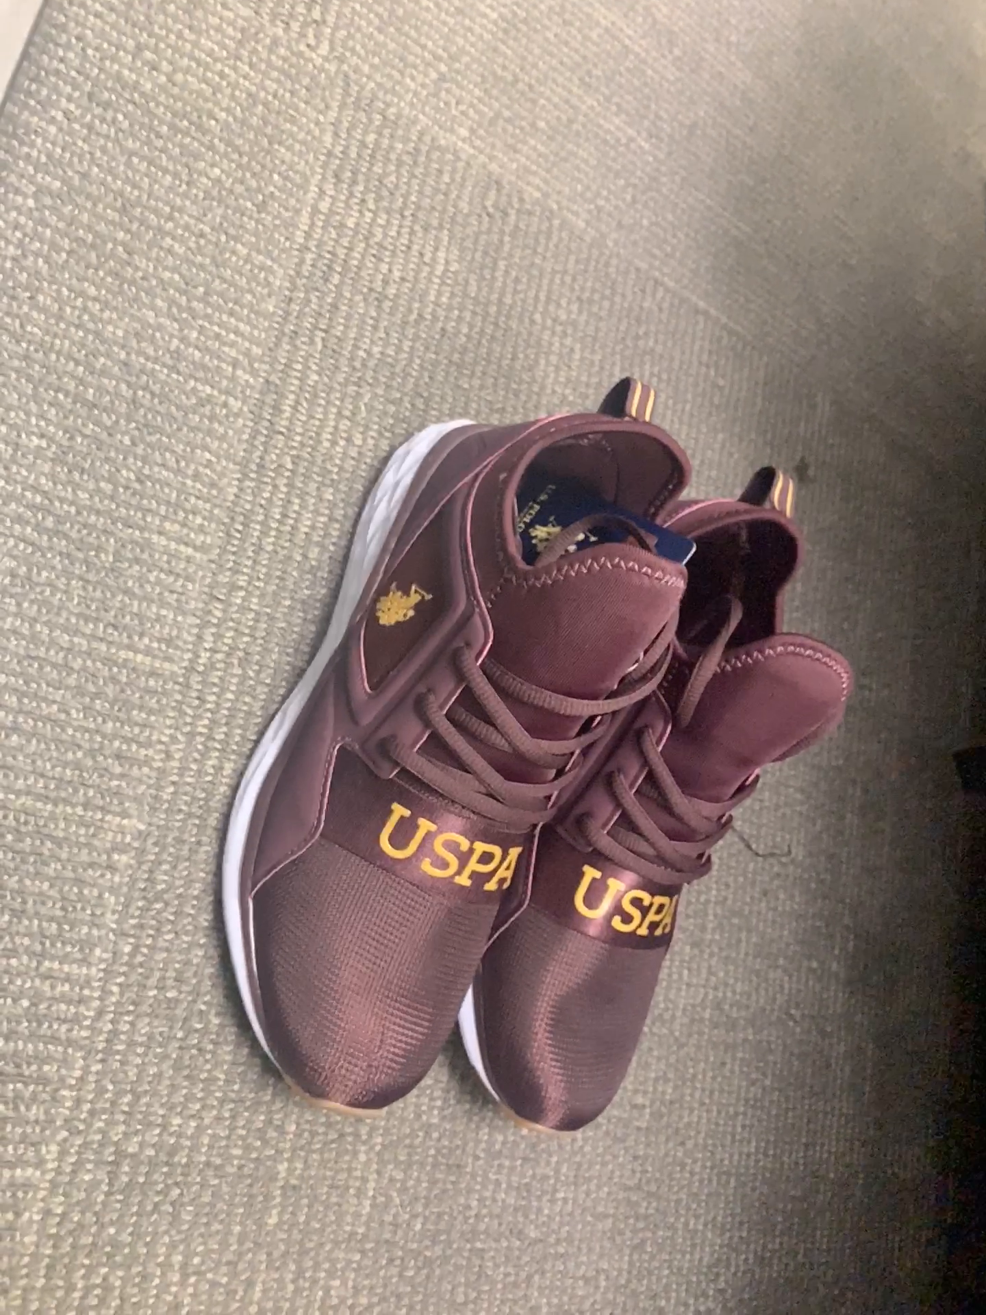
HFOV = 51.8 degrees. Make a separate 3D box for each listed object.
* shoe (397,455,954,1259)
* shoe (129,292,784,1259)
[{"bbox_3d":[0.070,0.071,0.390,0.104,0.149,0.241,21,71,-31],"label":"shoe"},{"bbox_3d":[-0.013,0.038,0.338,0.104,0.155,0.242,21,71,-31],"label":"shoe"}]
